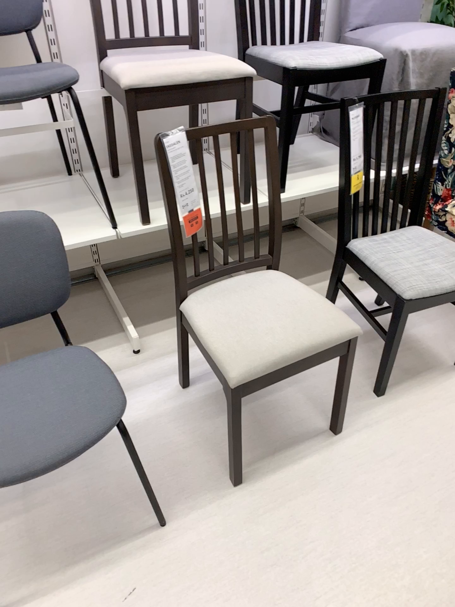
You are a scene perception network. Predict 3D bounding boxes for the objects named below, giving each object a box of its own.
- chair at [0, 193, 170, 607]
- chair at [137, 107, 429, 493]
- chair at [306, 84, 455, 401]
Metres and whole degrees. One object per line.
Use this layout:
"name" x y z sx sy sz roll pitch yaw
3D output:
"chair" -0.567 0.263 1.161 0.571 0.786 0.612 -21 42 -25
"chair" 0.102 -0.011 1.377 0.480 0.916 0.532 -18 41 -22
"chair" 0.670 -0.216 1.658 0.480 0.916 0.532 -13 39 -17
